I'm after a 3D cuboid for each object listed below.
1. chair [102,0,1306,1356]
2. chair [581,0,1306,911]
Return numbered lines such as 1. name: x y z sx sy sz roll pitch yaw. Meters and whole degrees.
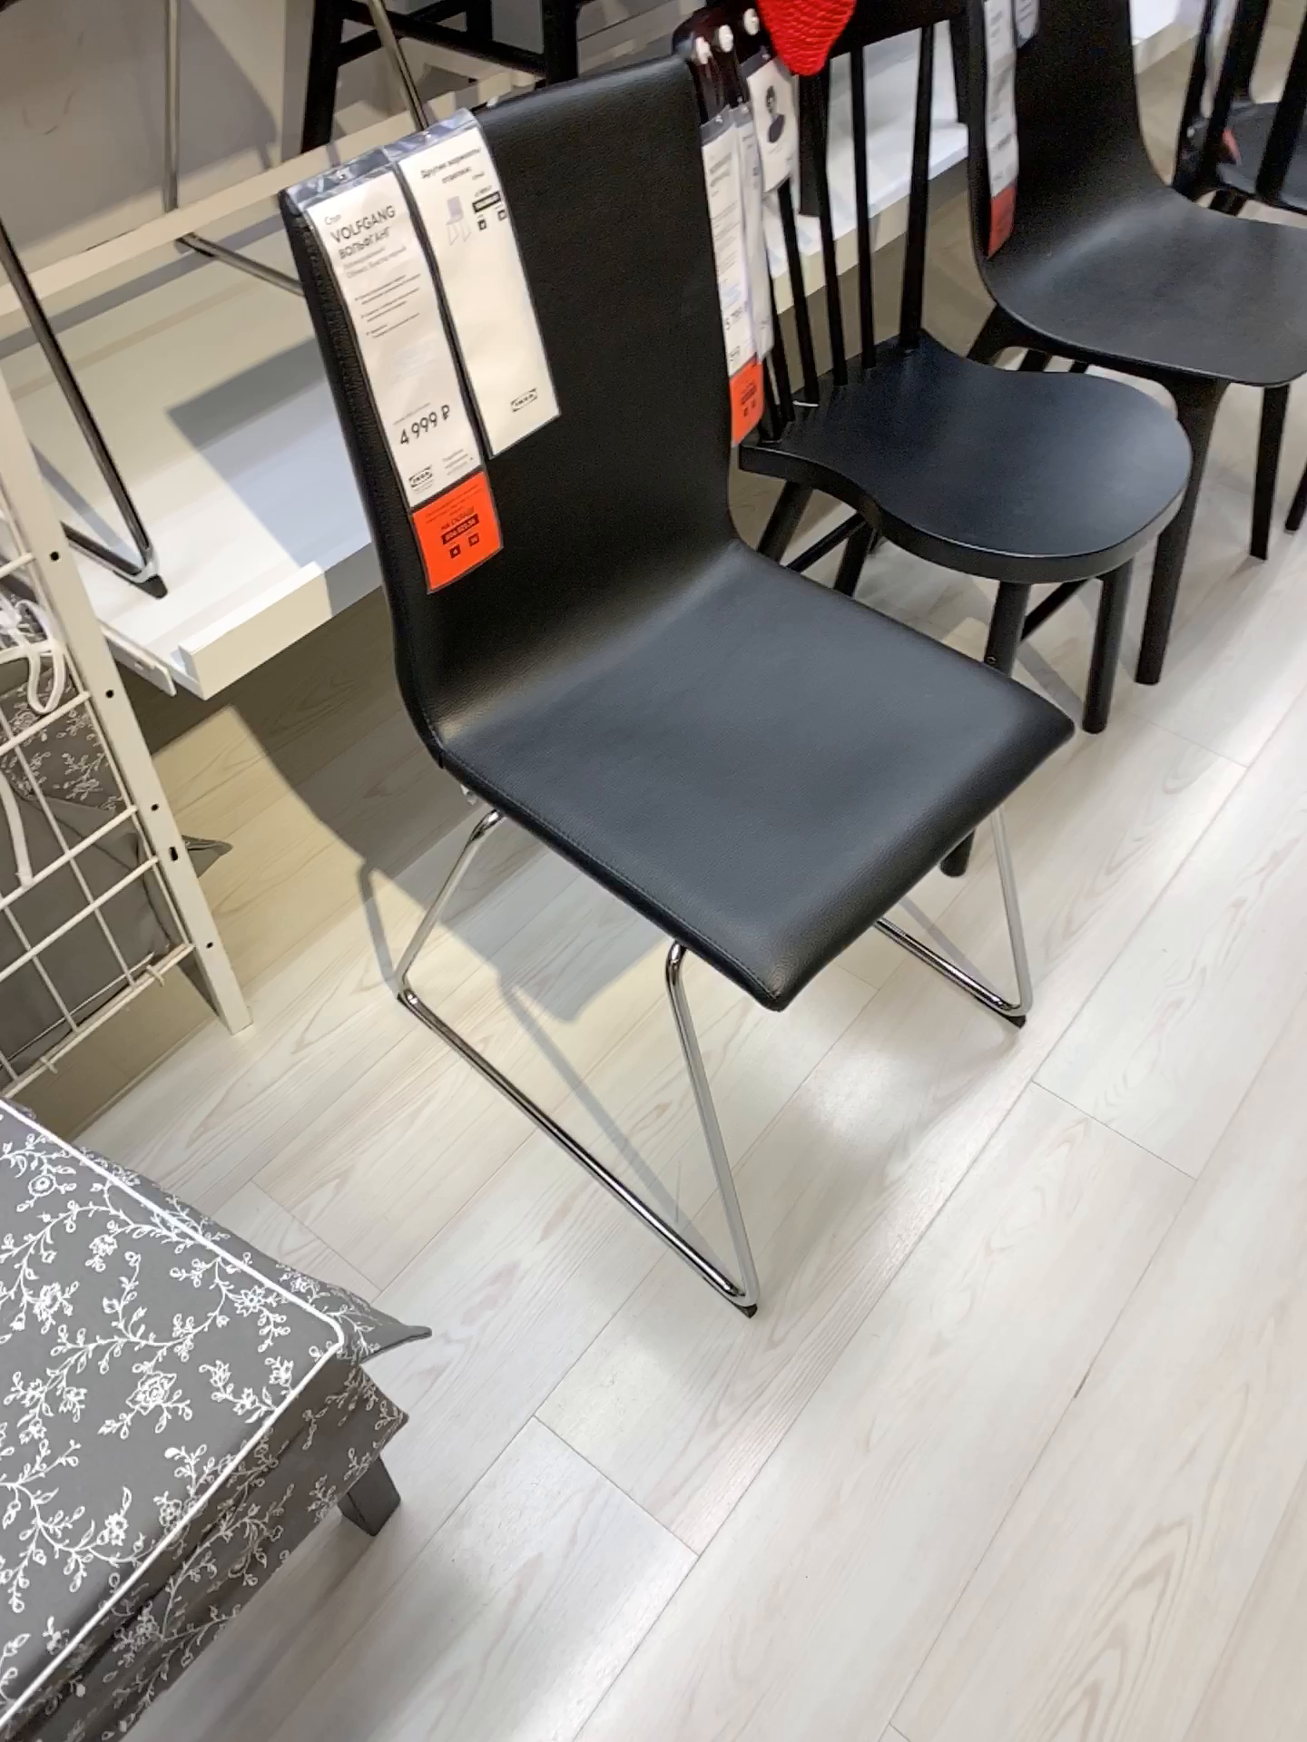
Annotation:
1. chair: 0.055 -0.143 1.159 0.609 0.869 0.532 35 57 26
2. chair: 0.311 -0.496 1.520 0.599 0.799 0.472 31 56 24
